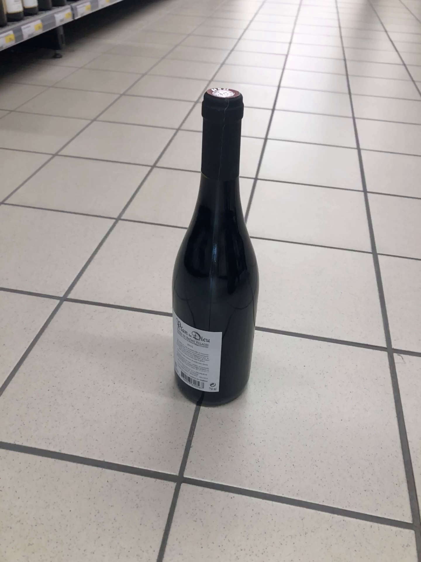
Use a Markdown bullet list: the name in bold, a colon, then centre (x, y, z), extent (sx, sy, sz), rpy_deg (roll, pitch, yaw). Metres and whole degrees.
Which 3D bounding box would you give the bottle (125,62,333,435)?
- **bottle**: centre (0.008, -0.015, 0.399), extent (0.100, 0.288, 0.101), rpy_deg (2, 37, -1)
